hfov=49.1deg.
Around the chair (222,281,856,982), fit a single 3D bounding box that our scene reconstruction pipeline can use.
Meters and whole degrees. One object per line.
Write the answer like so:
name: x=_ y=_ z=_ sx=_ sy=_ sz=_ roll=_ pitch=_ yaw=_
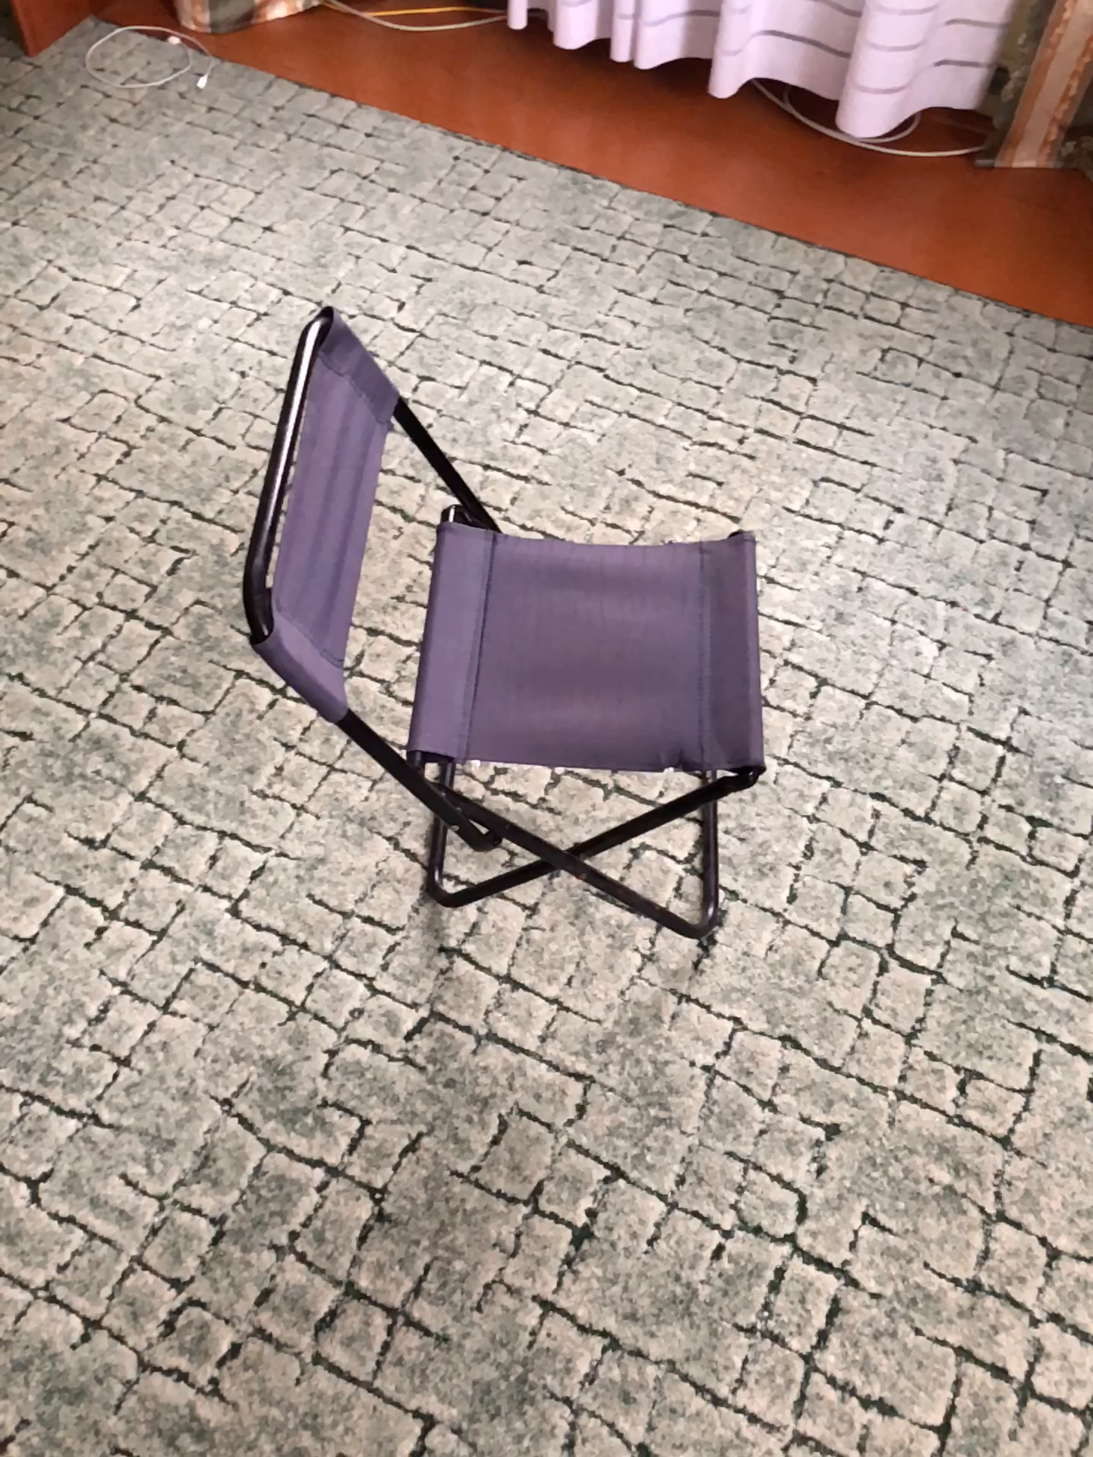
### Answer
chair: x=-0.005 y=-0.049 z=1.068 sx=0.398 sy=0.537 sz=0.343 roll=3 pitch=56 yaw=0
